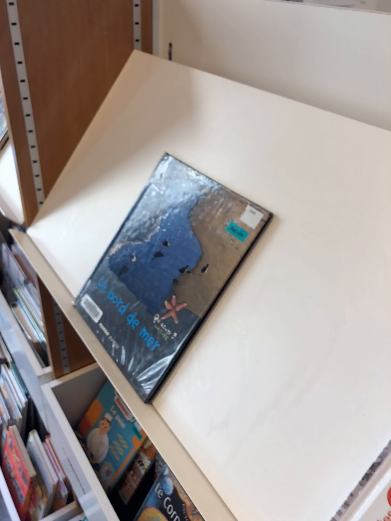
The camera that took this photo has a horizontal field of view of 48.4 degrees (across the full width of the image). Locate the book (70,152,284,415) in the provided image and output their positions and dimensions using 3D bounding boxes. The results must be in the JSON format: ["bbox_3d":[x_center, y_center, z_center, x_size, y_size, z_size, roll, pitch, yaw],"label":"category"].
[{"bbox_3d":[-0.041,0.012,0.517,0.020,0.244,0.209,26,10,-46],"label":"book"}]
